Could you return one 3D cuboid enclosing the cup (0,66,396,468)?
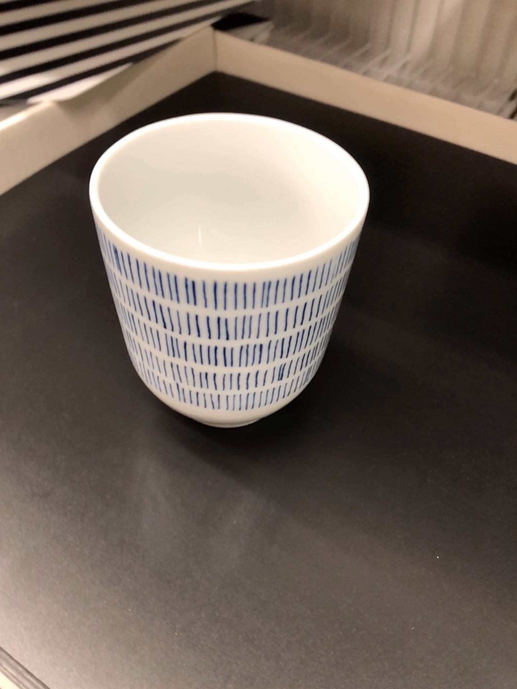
[{"bbox_3d":[-0.017,-0.027,0.175,0.080,0.070,0.070,26,50,20],"label":"cup"}]
